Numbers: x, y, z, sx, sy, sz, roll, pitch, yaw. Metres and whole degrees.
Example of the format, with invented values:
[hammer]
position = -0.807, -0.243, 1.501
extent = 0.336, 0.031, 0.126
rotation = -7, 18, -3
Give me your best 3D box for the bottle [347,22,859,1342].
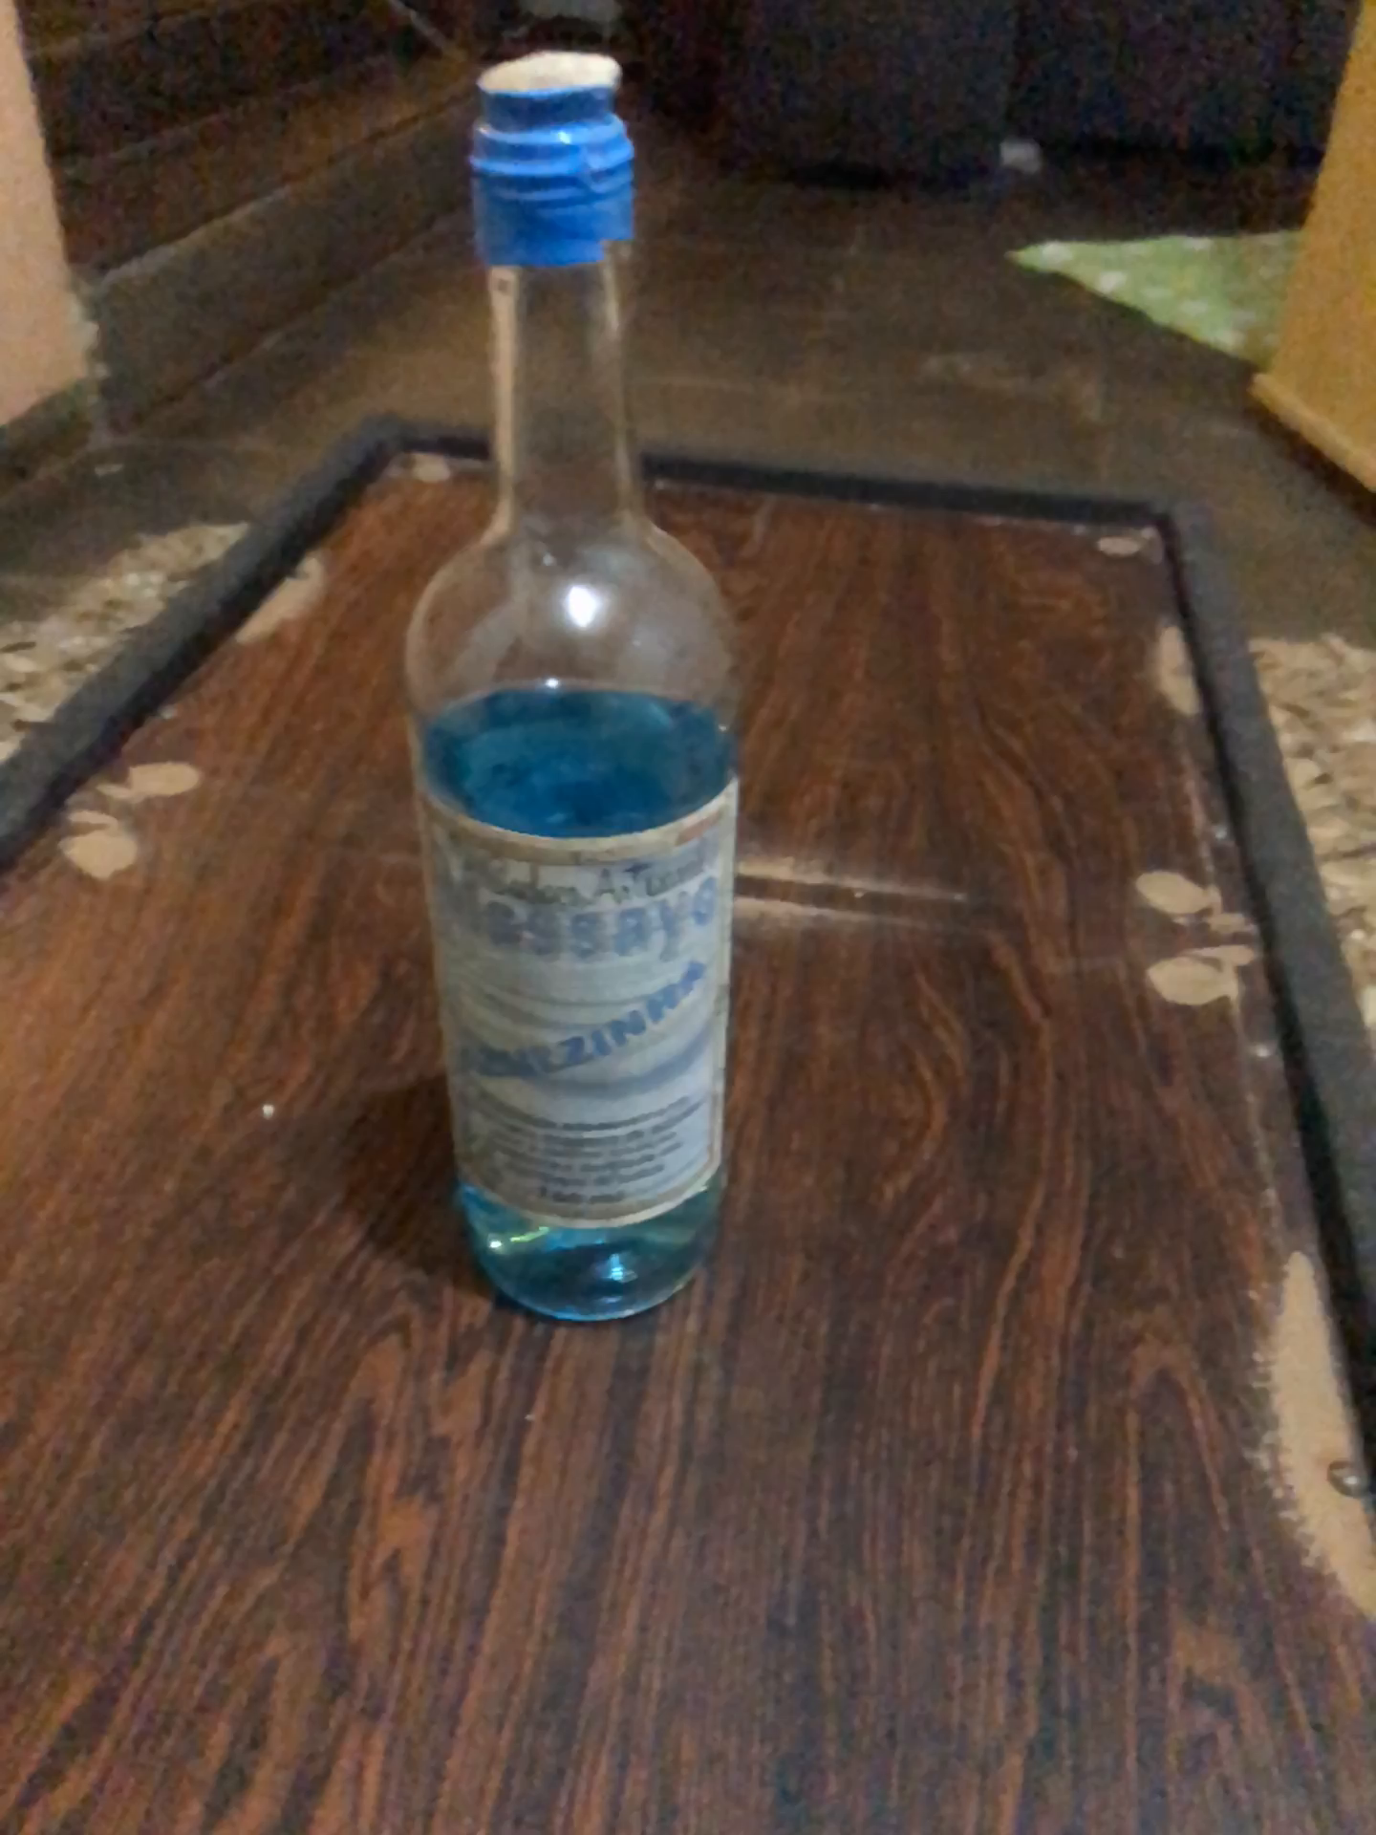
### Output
[bottle]
position = -0.019, -0.032, 0.357
extent = 0.080, 0.298, 0.081
rotation = 2, 35, -1
